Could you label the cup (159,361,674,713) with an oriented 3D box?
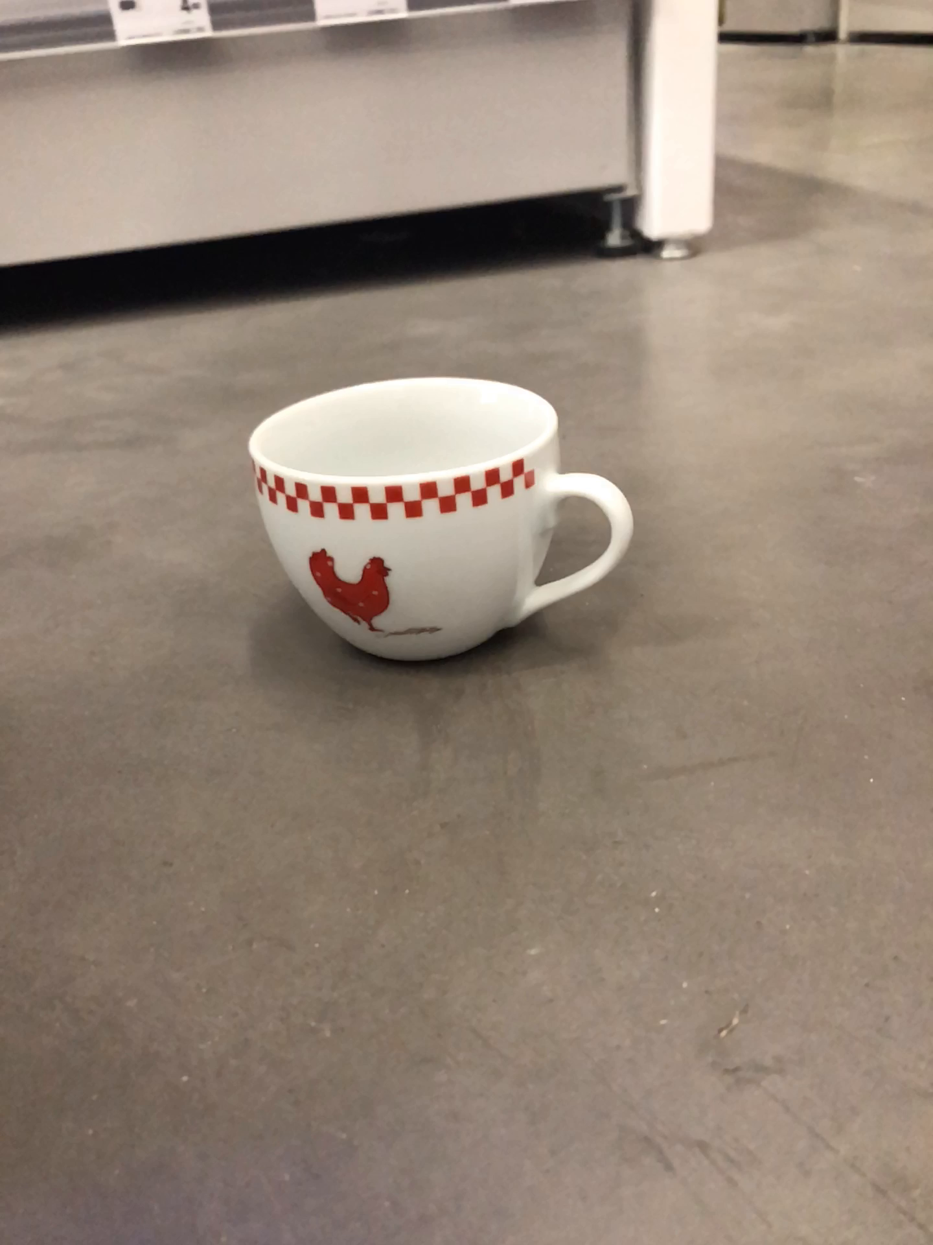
[{"bbox_3d":[-0.008,-0.032,0.293,0.111,0.058,0.089,9,30,24],"label":"cup"}]
